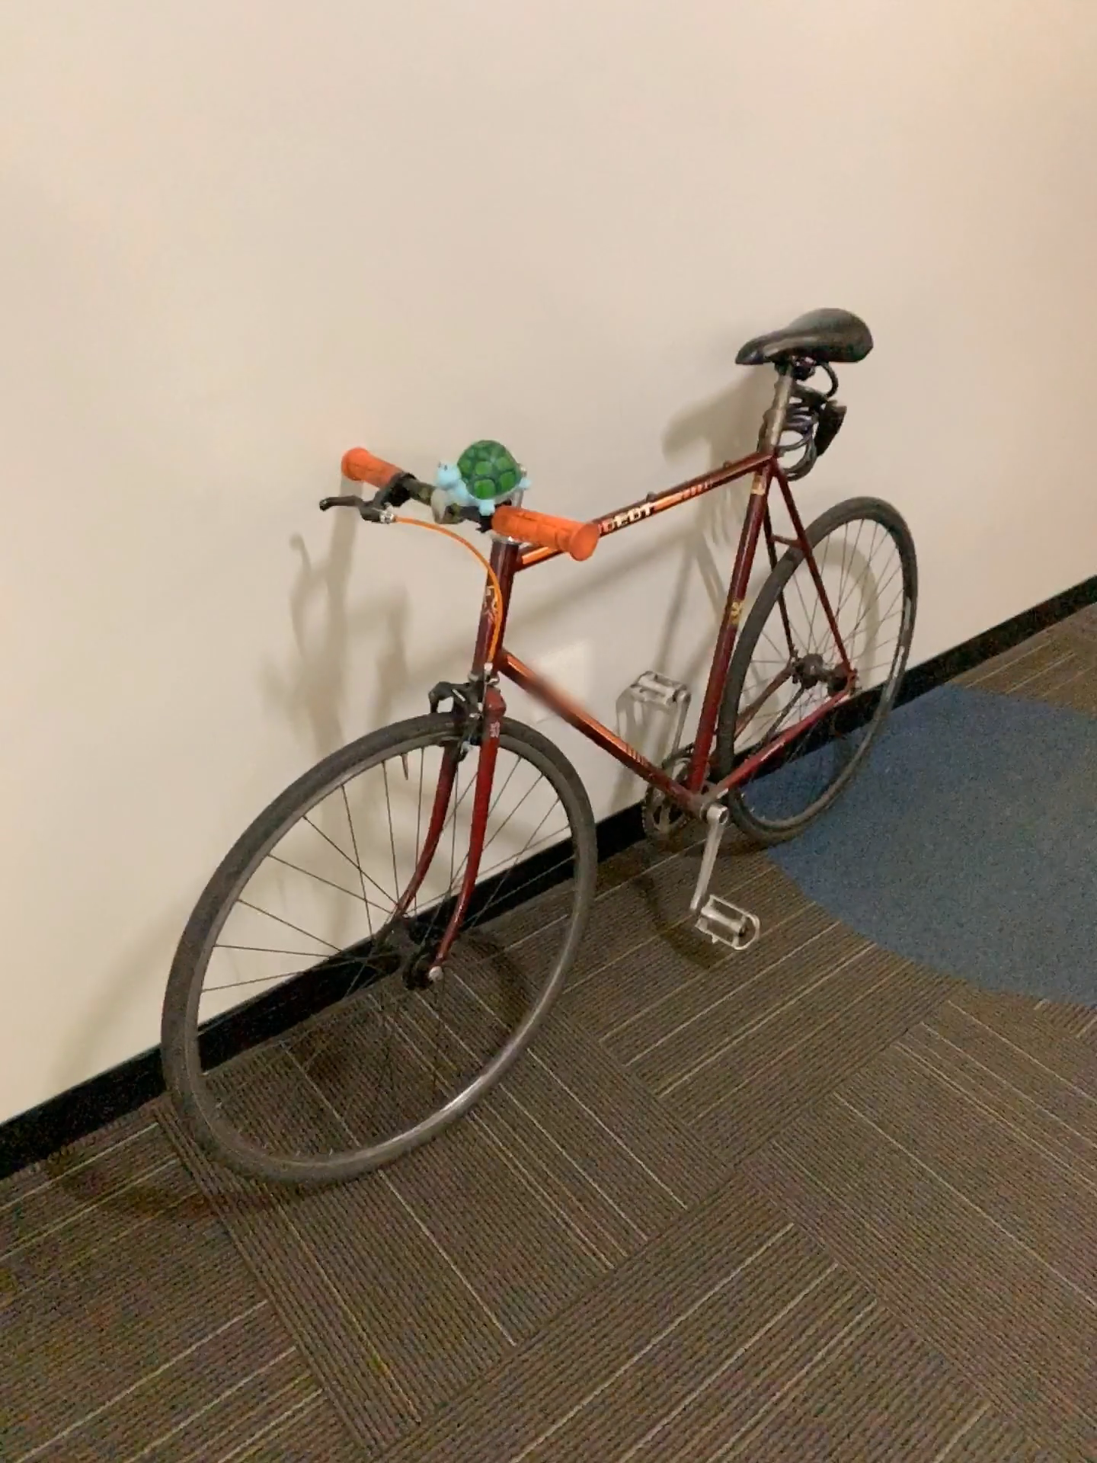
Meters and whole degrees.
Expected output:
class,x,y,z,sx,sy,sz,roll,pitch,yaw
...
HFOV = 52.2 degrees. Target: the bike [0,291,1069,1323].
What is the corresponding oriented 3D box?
class,x,y,z,sx,sy,sz,roll,pitch,yaw
bike,0.118,-0.061,1.723,0.450,0.909,1.629,28,41,35
